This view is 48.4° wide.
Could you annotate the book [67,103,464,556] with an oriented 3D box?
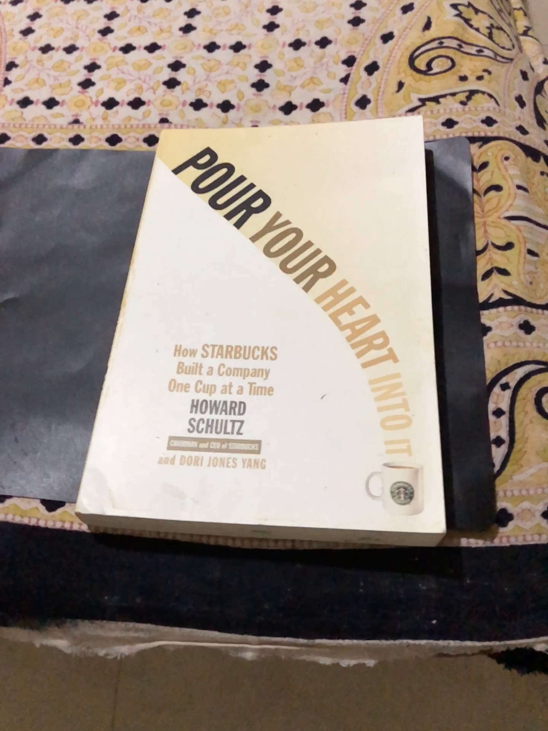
[{"bbox_3d":[0.005,-0.033,0.321,0.160,0.050,0.240,2,63,5],"label":"book"}]
